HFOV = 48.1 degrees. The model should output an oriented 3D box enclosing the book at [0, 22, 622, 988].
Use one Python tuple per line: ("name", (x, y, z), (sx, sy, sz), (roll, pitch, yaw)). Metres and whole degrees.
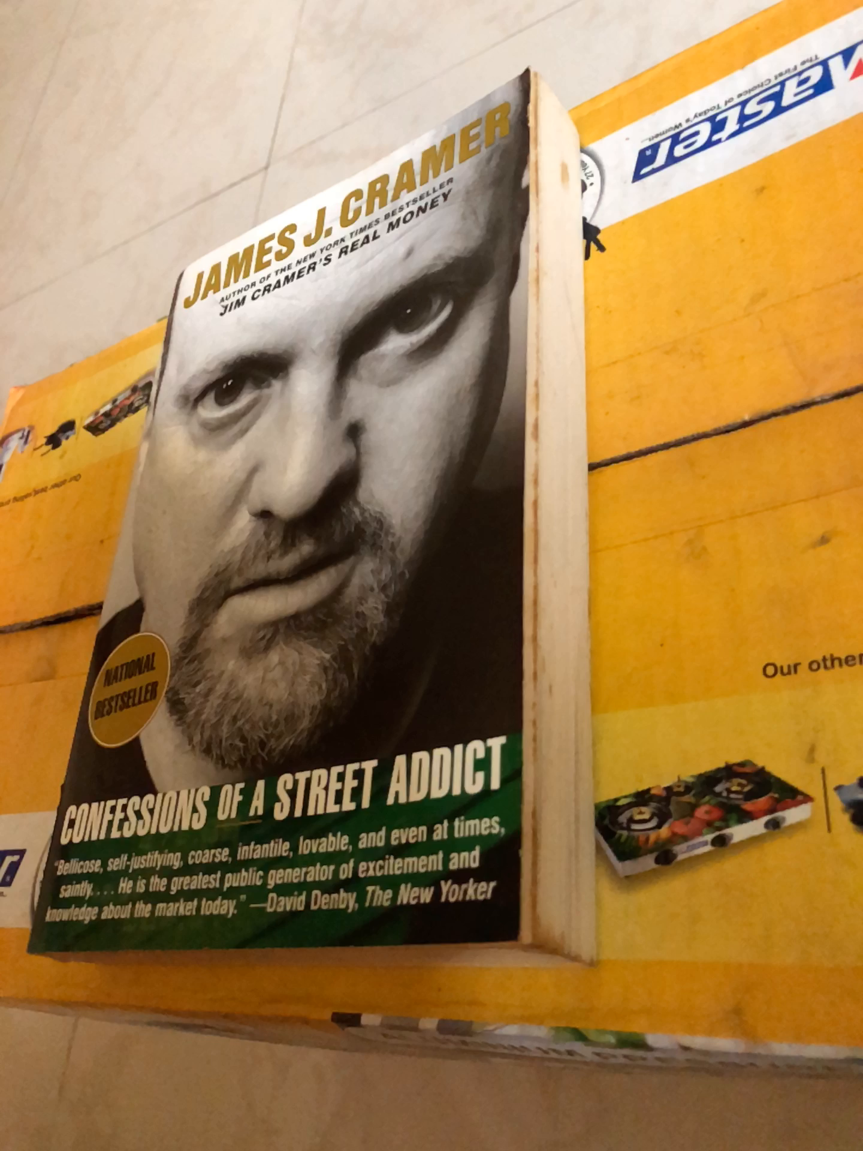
("book", (-0.027, -0.022, 0.246), (0.140, 0.030, 0.230), (-15, 57, 32))
